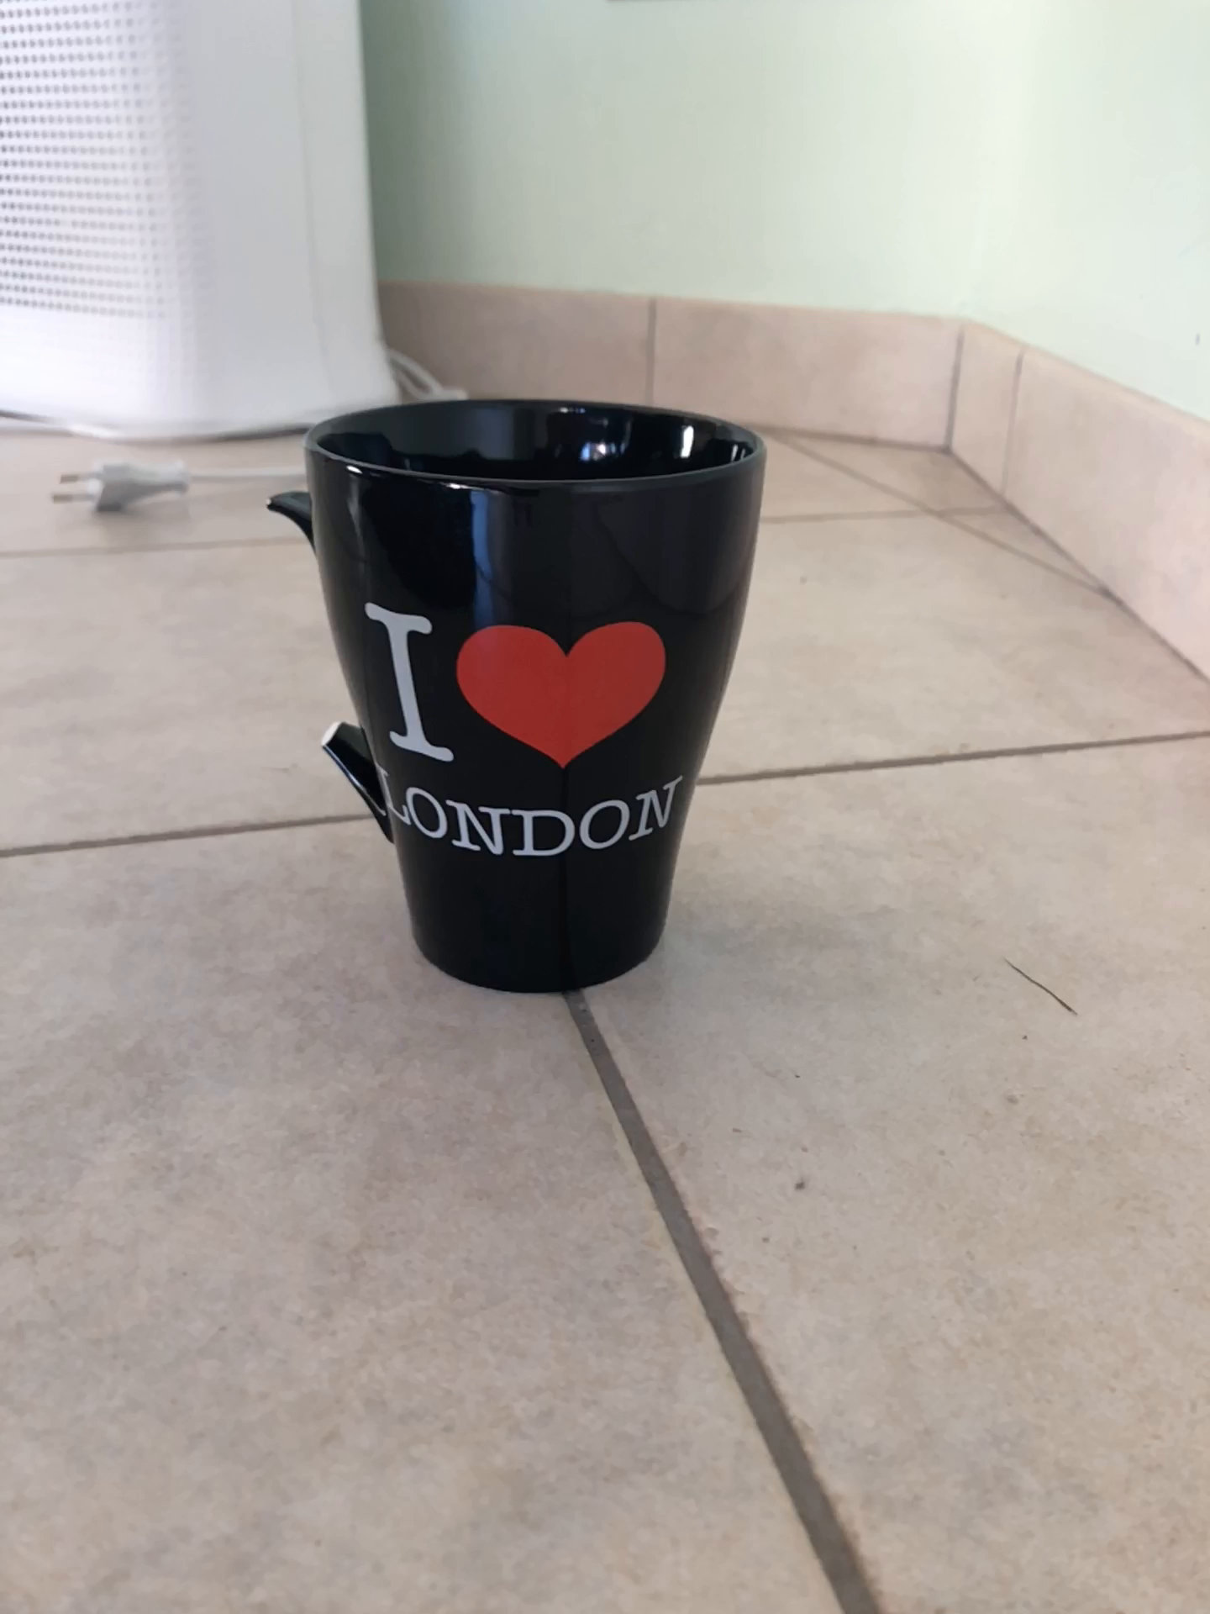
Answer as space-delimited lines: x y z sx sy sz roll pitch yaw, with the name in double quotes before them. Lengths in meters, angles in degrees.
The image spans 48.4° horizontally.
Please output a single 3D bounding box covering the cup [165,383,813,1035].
"cup" -0.014 -0.028 0.286 0.108 0.103 0.098 1 25 0
